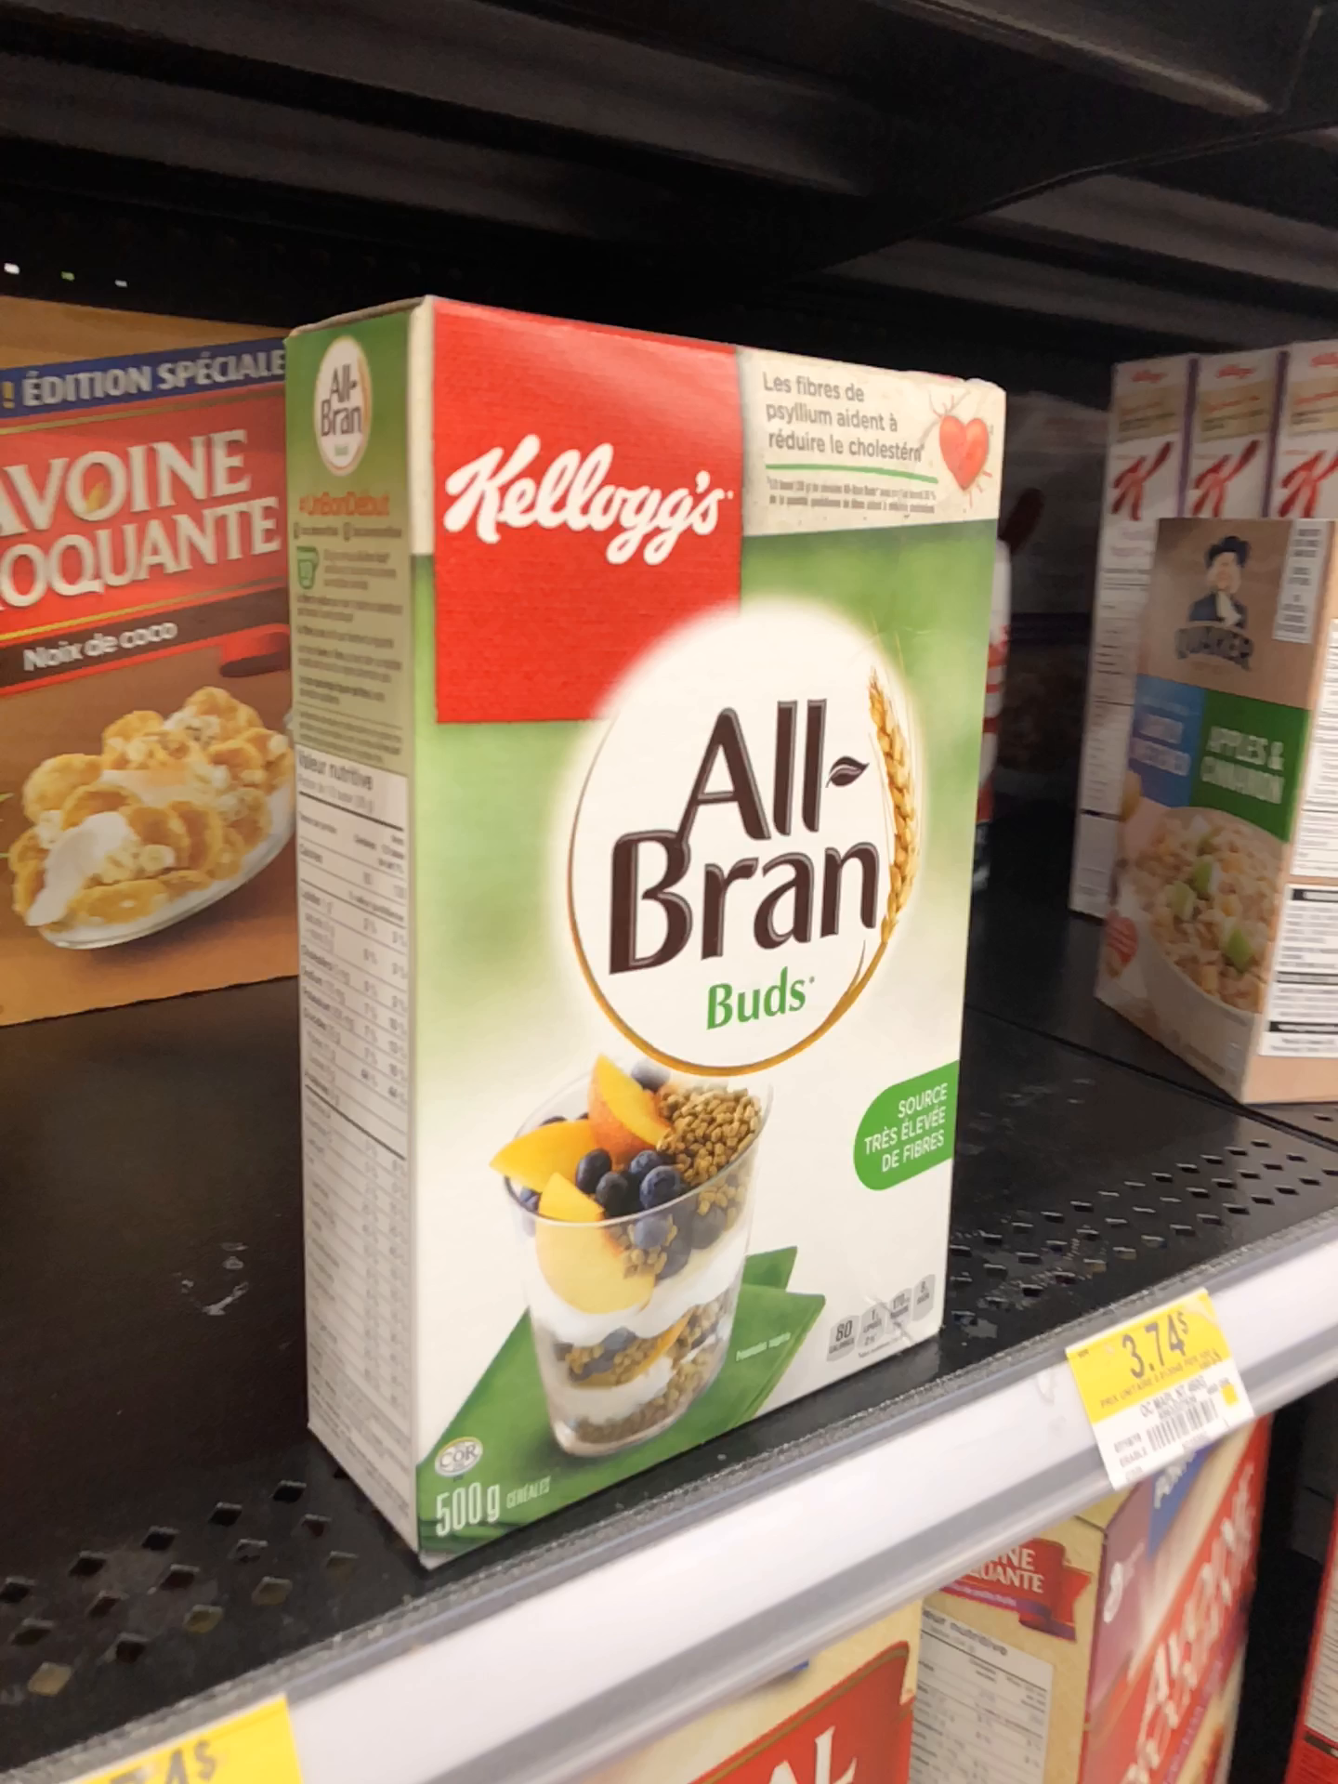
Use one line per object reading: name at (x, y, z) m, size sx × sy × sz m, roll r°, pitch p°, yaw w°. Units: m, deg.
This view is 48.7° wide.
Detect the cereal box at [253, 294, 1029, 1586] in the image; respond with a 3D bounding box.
cereal box at (-0.003, 0.004, 0.308) m, size 0.150 × 0.219 × 0.050 m, roll -8°, pitch 17°, yaw -39°
